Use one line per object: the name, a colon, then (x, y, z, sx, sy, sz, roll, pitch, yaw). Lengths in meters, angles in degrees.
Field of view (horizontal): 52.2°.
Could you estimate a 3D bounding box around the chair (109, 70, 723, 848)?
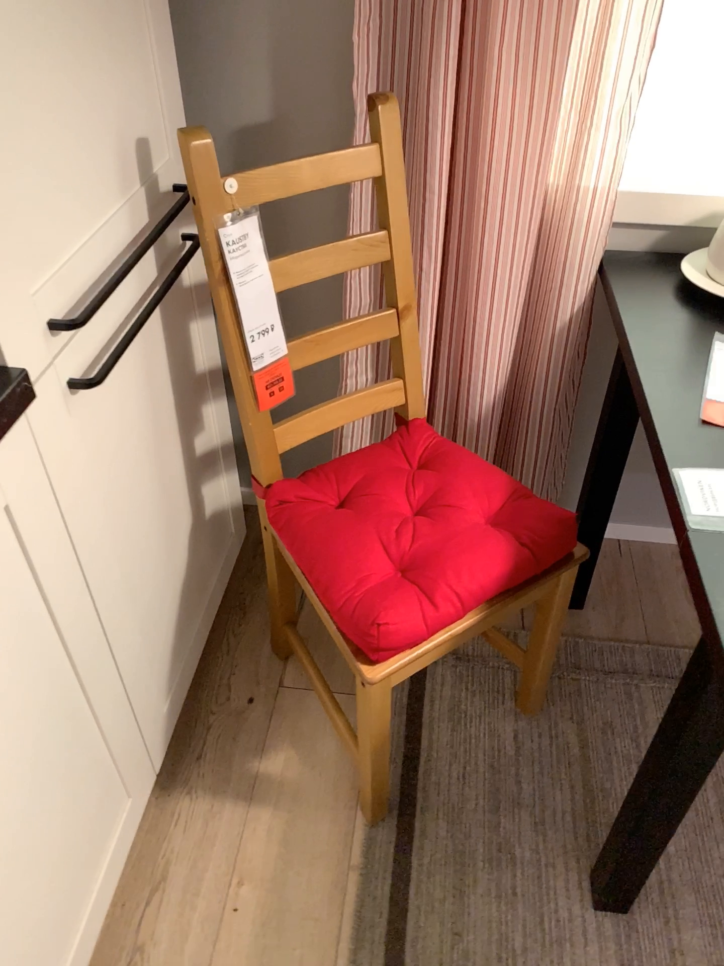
chair: (0.051, -0.014, 1.210, 0.501, 1.014, 0.582, -26, 48, -27)
